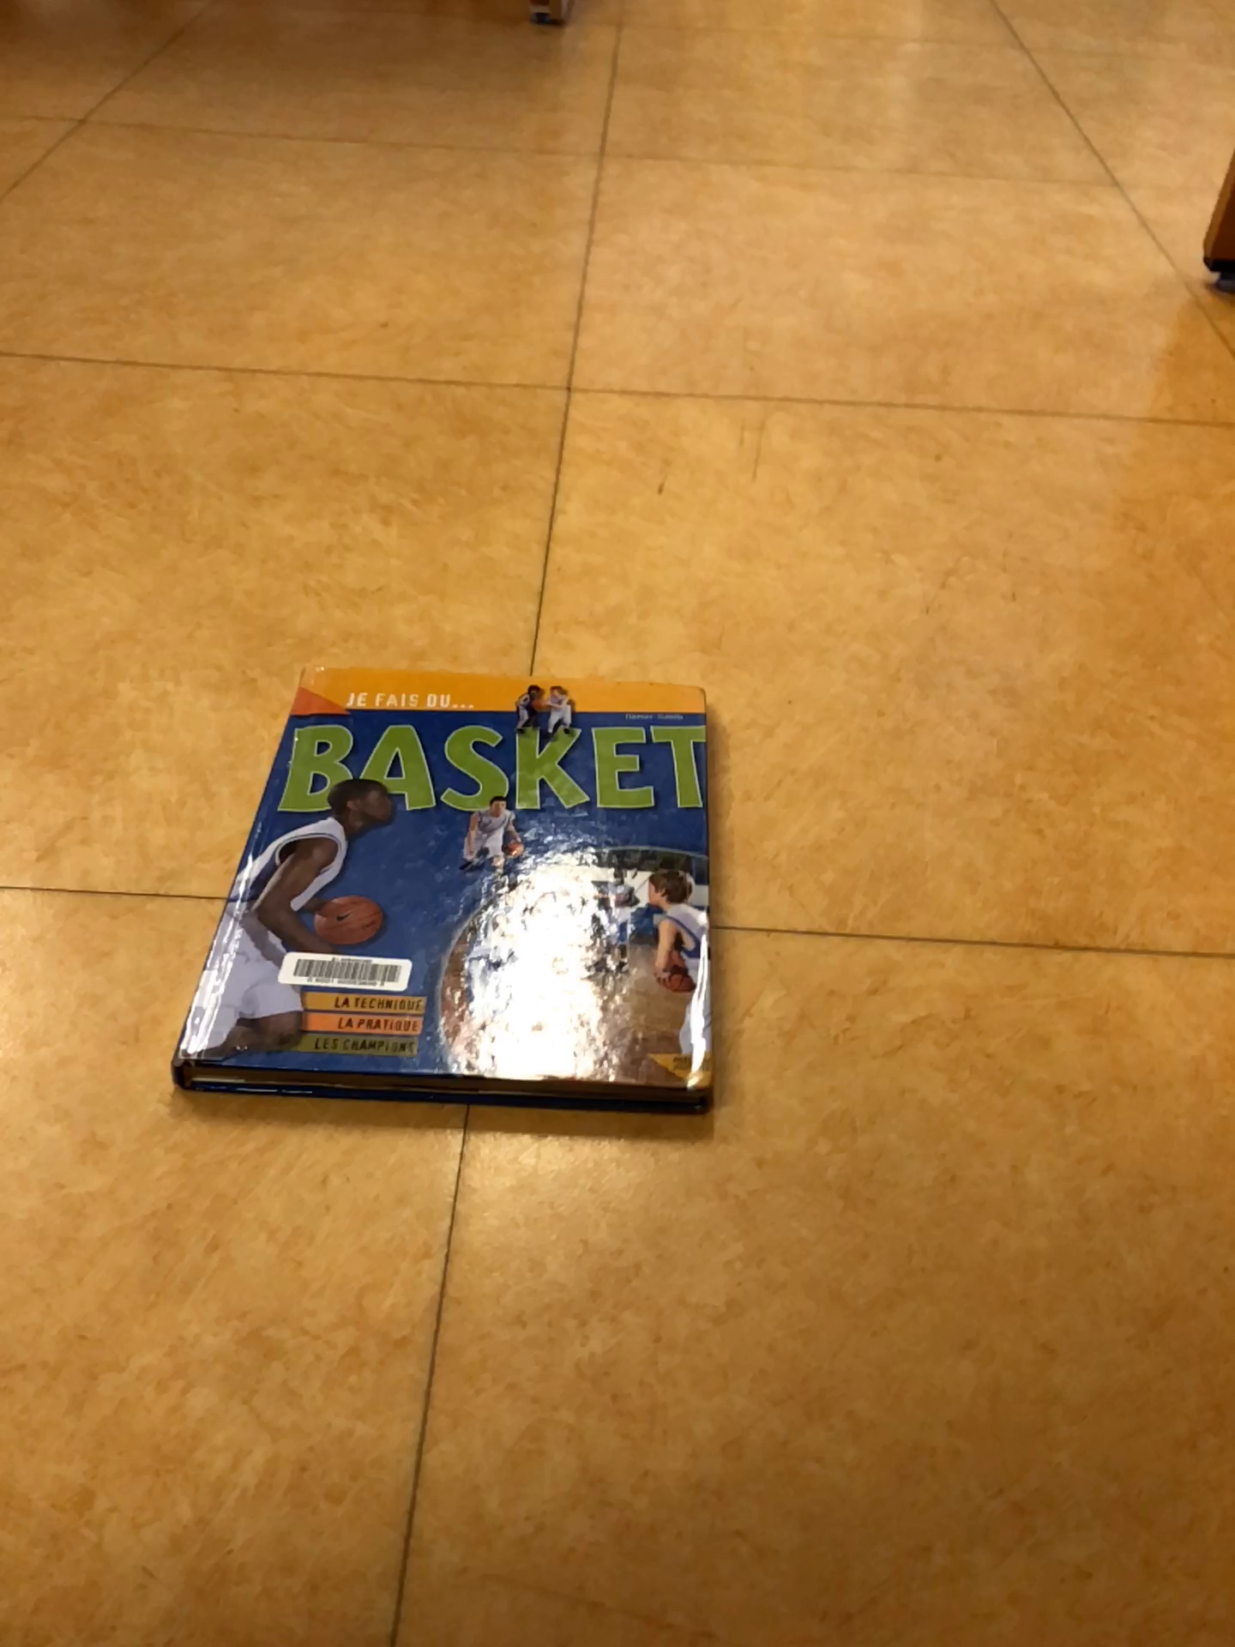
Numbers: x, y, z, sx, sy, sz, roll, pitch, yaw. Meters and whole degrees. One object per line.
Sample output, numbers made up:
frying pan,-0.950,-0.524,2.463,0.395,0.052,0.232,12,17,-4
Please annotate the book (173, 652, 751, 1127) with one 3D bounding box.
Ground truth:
book,-0.053,0.014,0.594,0.210,0.020,0.258,3,43,-1
